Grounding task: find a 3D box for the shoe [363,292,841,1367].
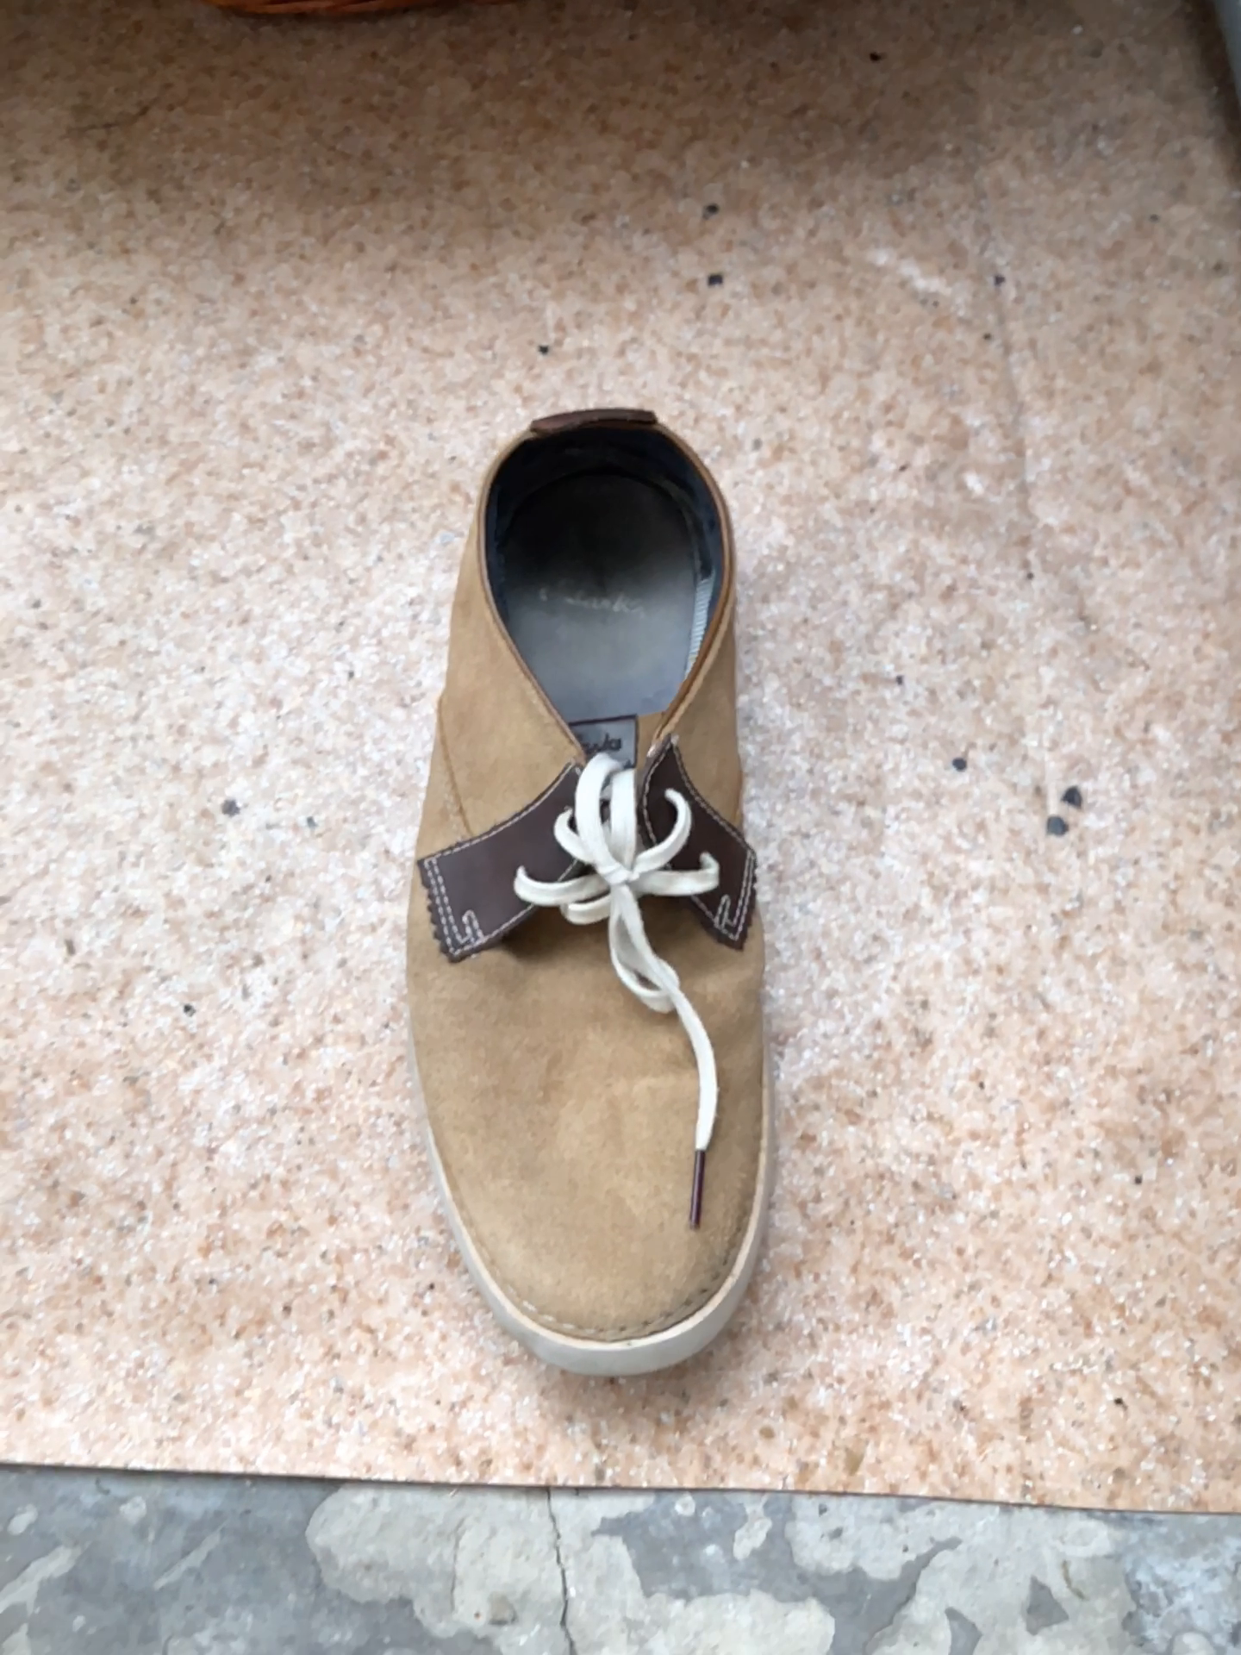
[{"bbox_3d":[-0.003,-0.004,0.407,0.110,0.090,0.301,0,71,1],"label":"shoe"}]
